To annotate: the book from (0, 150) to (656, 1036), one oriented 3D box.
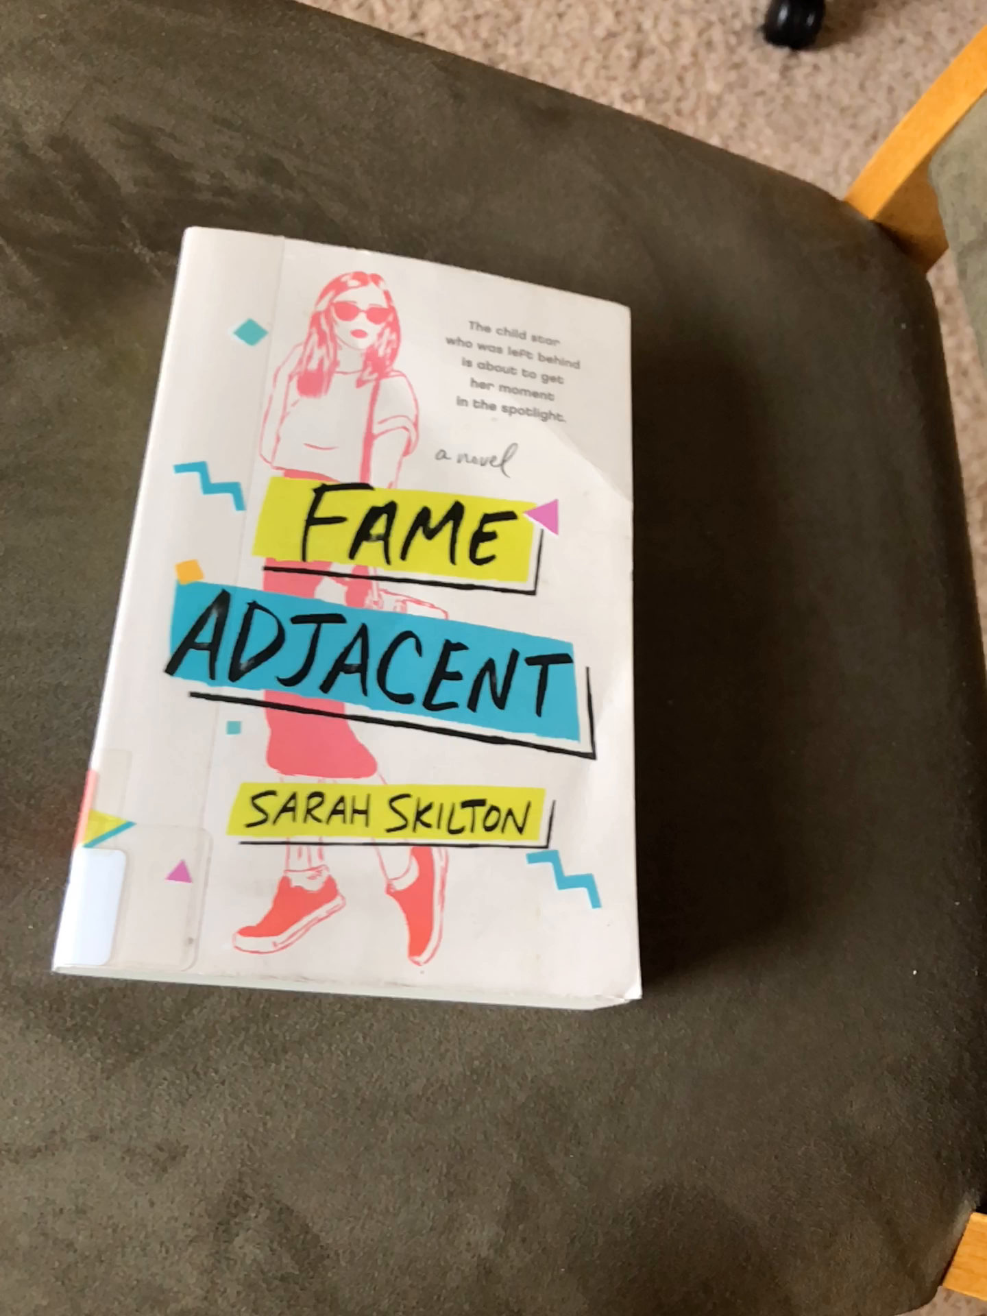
[{"bbox_3d":[-0.031,-0.021,0.291,0.140,0.040,0.220,7,68,-10],"label":"book"}]
